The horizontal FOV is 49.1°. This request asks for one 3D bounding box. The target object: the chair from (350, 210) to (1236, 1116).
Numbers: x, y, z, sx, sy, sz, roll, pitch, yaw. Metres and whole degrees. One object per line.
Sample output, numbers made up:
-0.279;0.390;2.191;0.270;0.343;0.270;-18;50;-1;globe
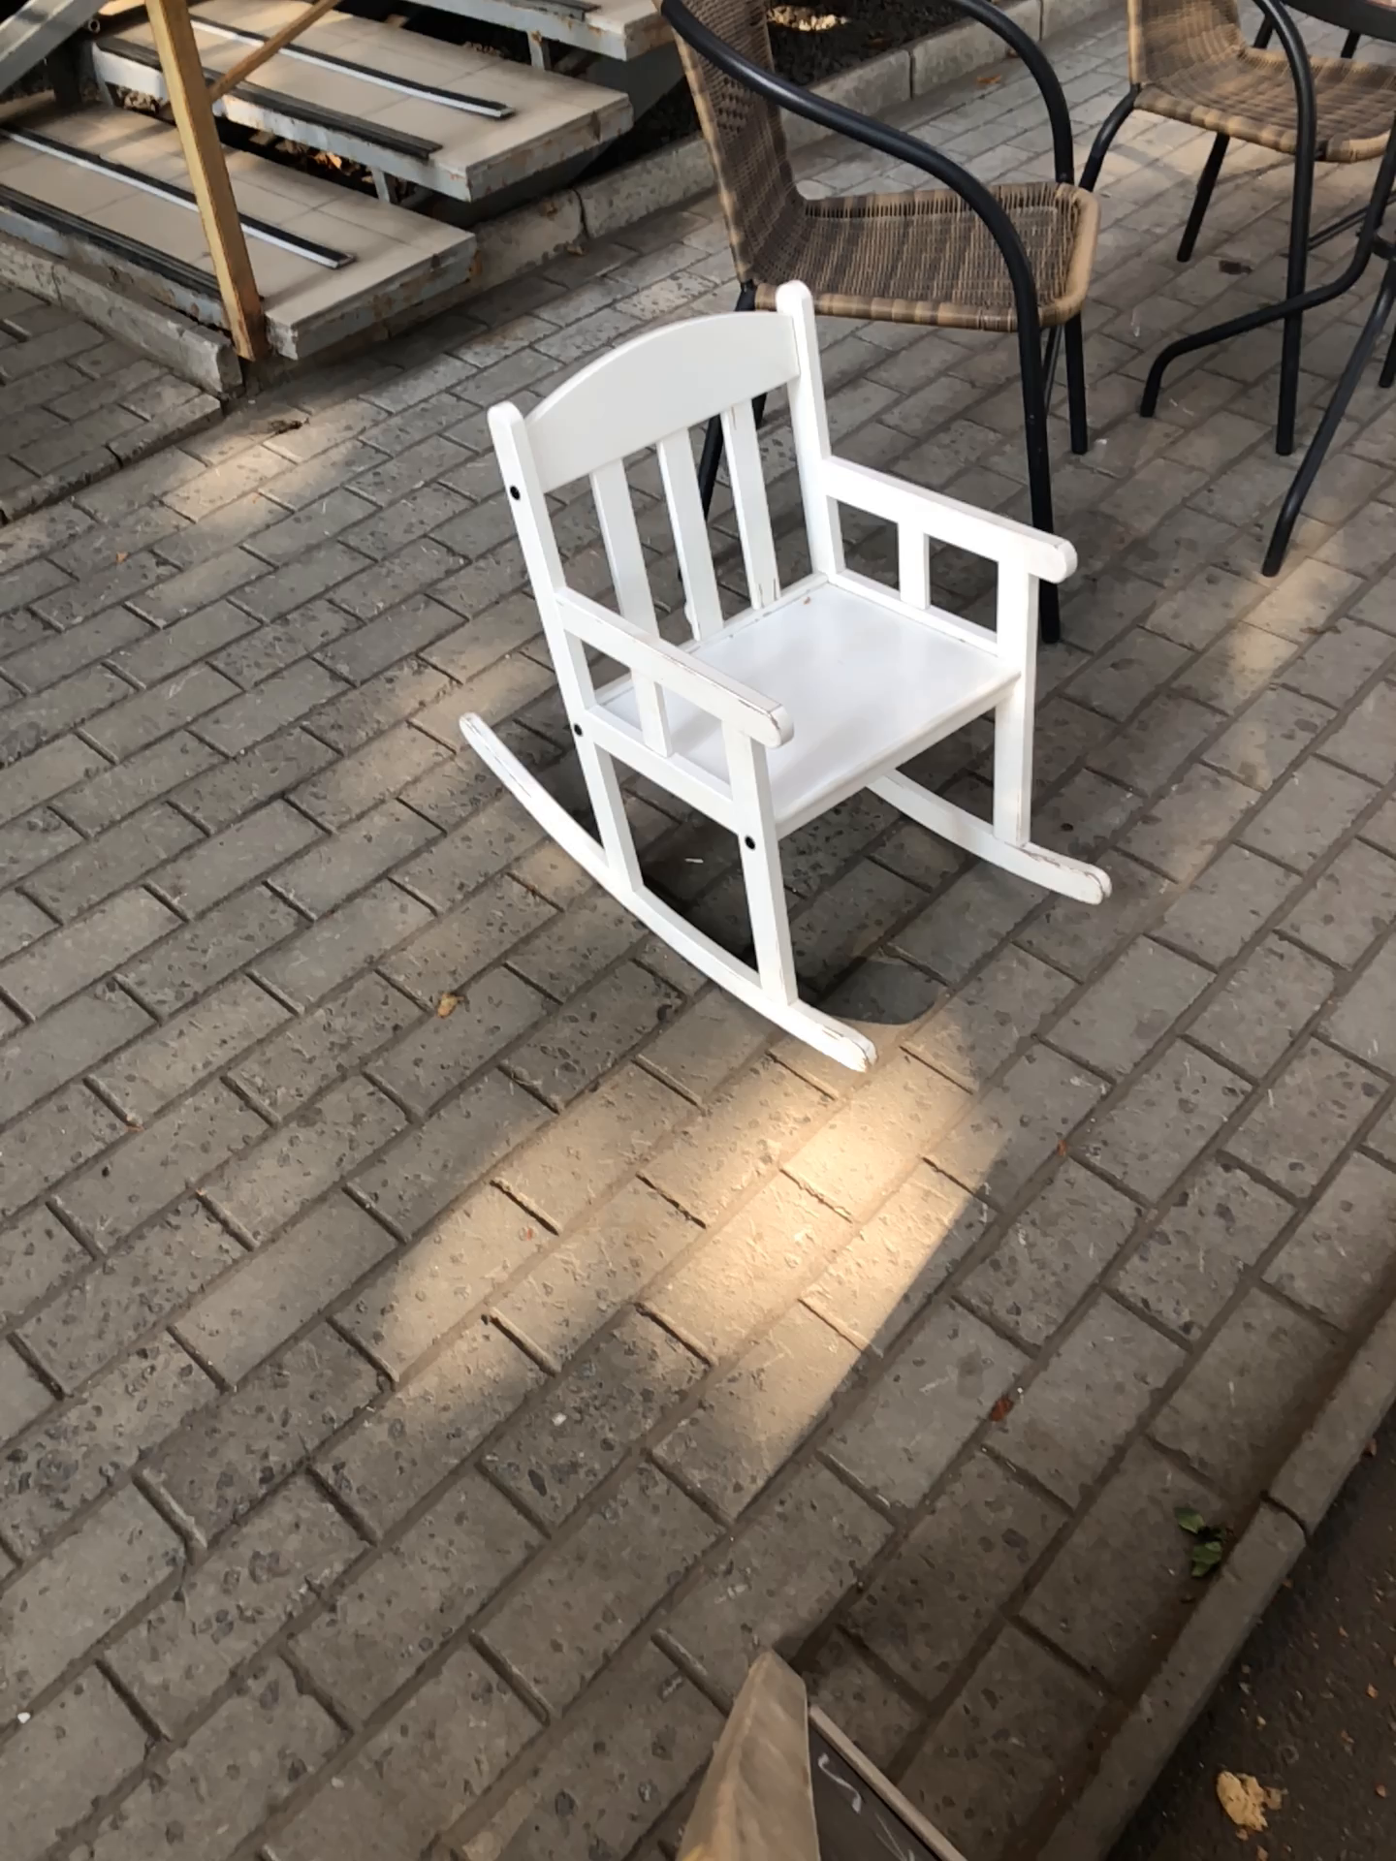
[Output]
0.058;-0.295;1.521;0.381;0.518;0.732;-32;52;-25;chair
